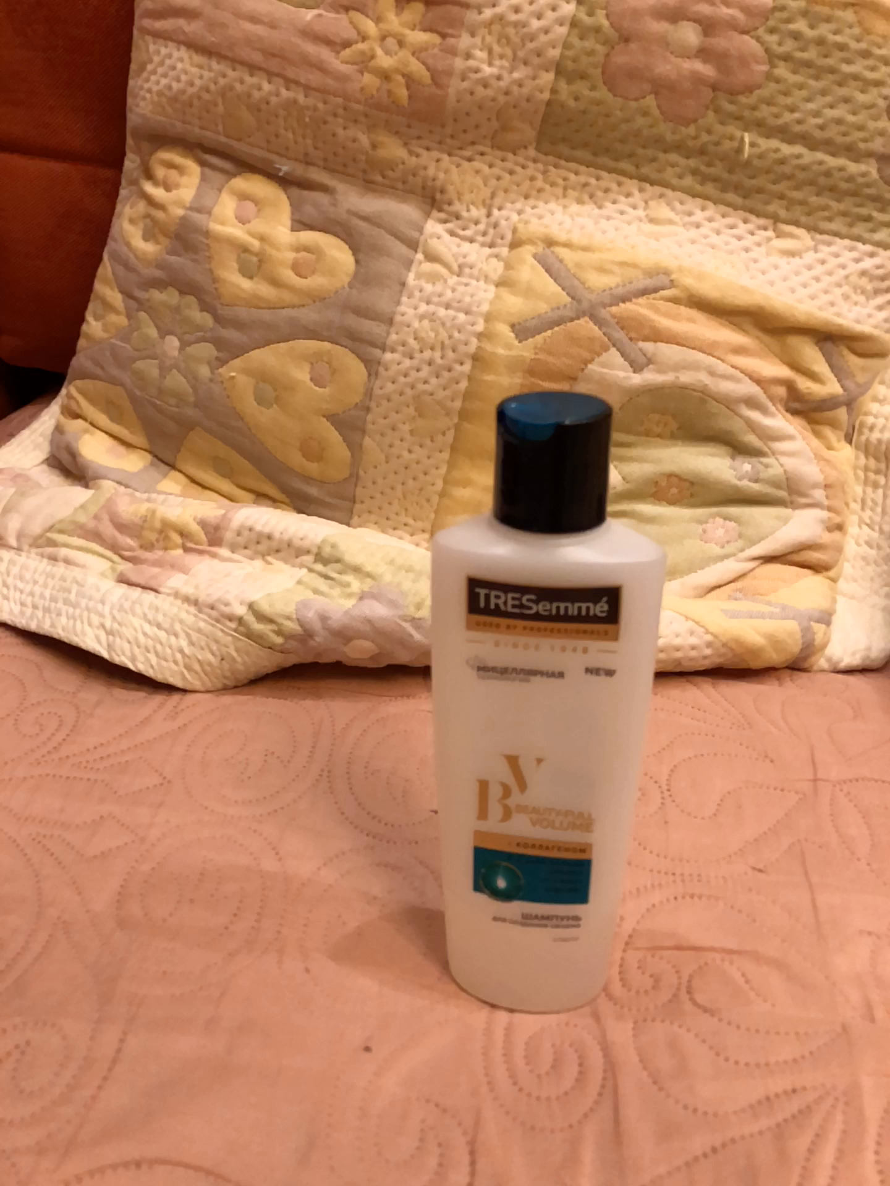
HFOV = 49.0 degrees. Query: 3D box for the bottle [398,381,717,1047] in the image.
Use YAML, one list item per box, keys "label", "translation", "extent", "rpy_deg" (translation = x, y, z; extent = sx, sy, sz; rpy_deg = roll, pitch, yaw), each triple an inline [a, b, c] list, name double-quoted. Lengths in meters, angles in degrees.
- label: "bottle"
  translation: [0.026, 0.044, 0.287]
  extent: [0.070, 0.199, 0.040]
  rpy_deg: [6, 27, 6]
